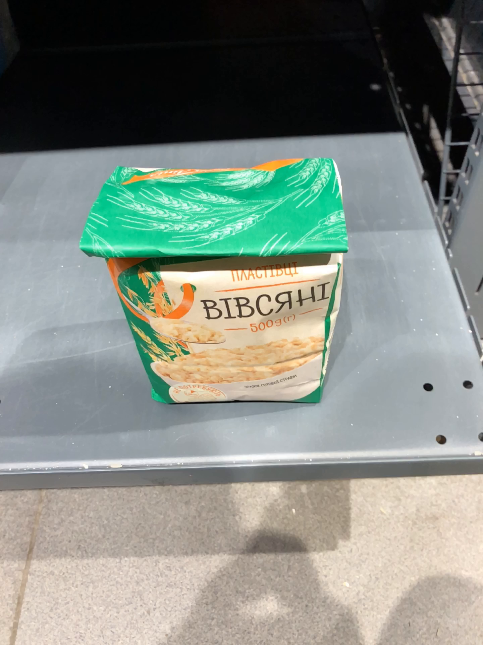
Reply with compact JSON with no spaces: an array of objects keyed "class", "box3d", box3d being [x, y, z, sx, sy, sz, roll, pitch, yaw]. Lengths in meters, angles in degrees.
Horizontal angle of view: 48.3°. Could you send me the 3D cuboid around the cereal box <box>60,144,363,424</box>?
[{"class":"cereal box","box3d":[-0.010,-0.012,0.290,0.120,0.139,0.070,-3,53,1]}]
